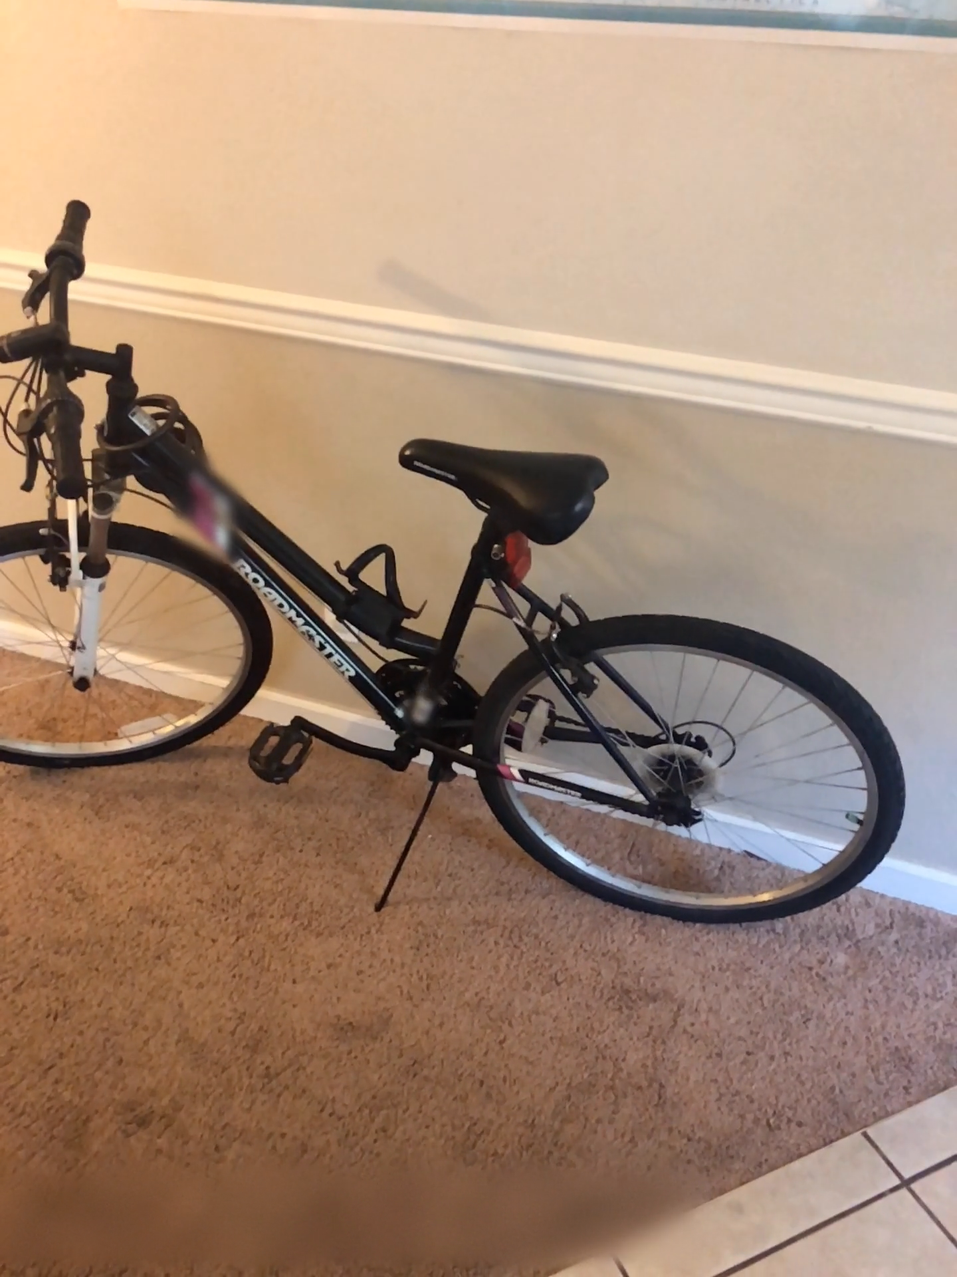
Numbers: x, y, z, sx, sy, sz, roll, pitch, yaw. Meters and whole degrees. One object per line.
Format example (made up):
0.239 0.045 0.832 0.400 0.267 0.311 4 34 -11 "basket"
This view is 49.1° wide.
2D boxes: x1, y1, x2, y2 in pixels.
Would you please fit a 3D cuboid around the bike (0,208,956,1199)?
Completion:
-0.224 0.049 1.706 1.864 1.177 0.683 8 31 8 "bike"
